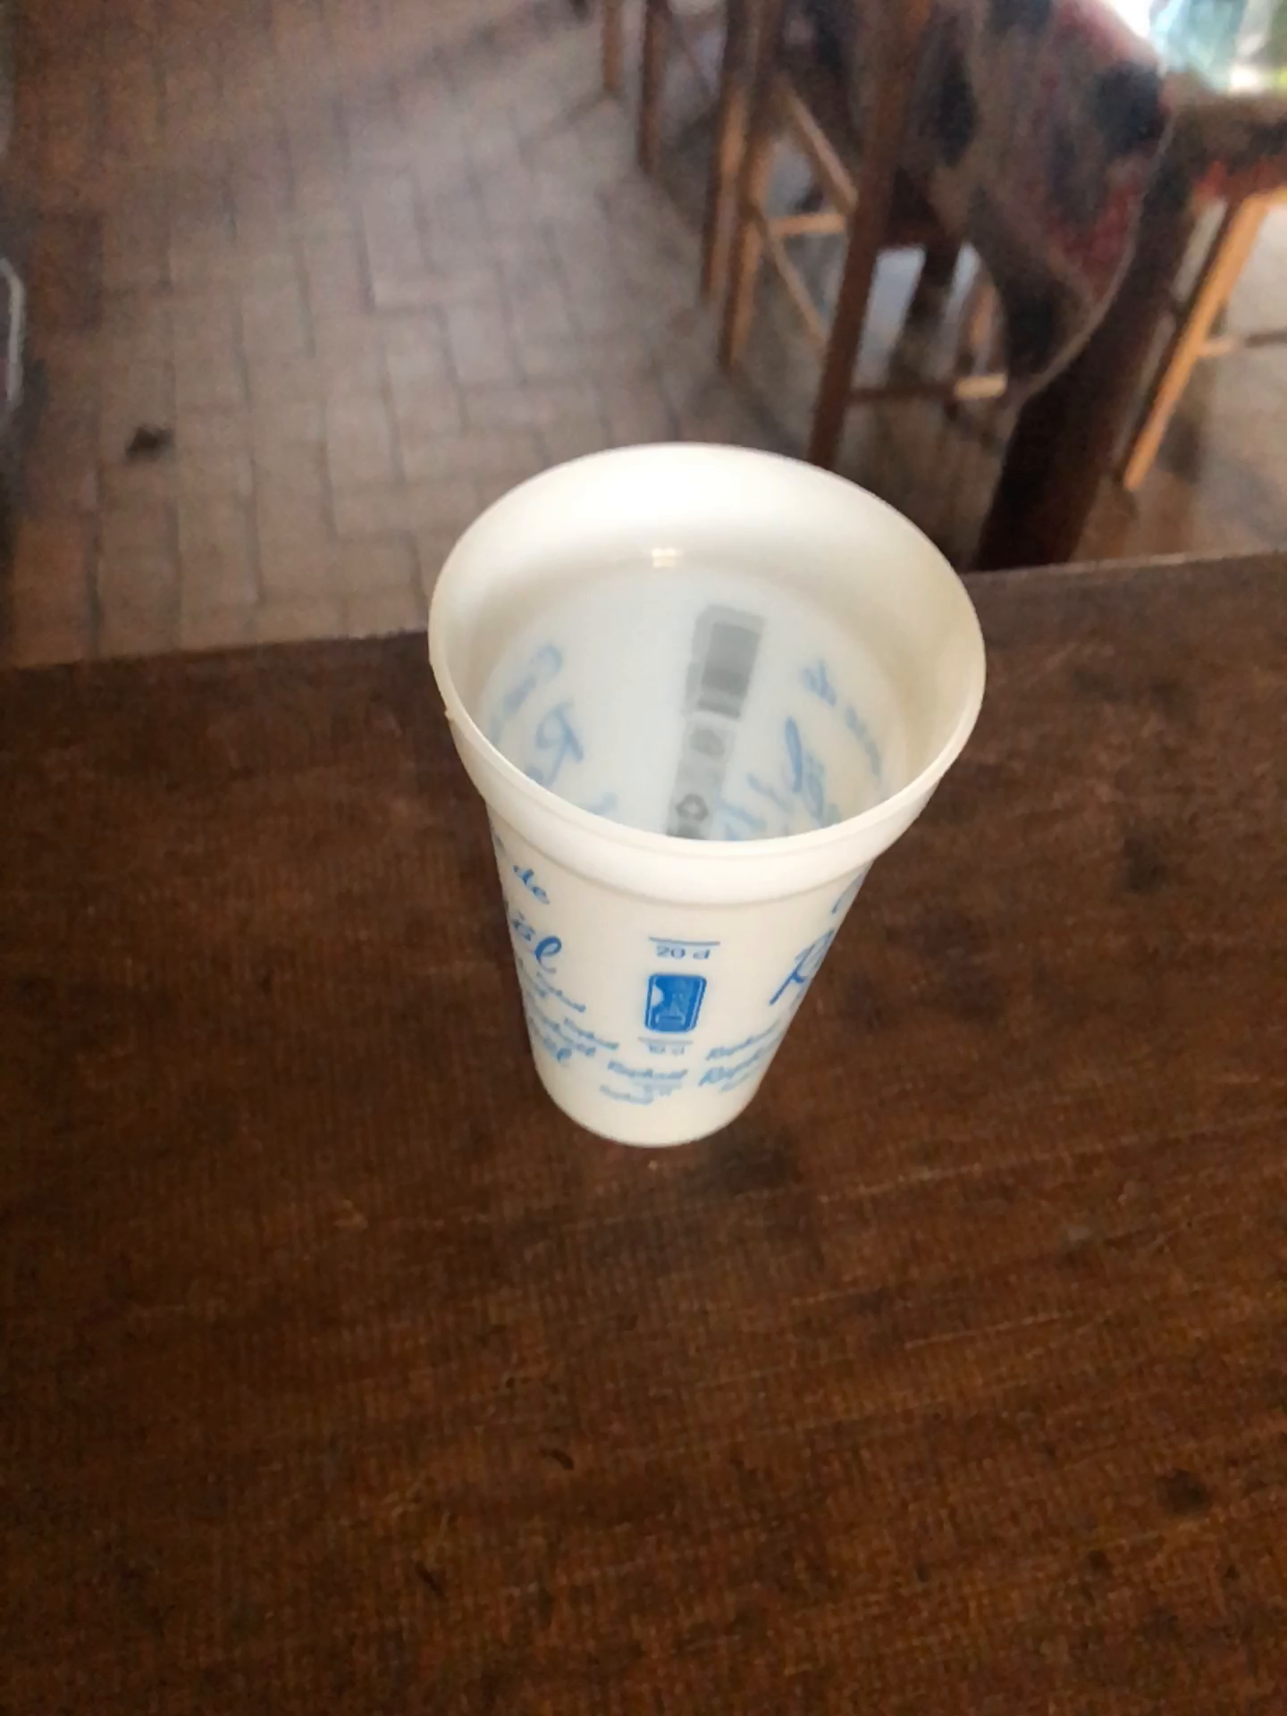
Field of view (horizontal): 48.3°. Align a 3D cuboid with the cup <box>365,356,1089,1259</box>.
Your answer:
[{"bbox_3d":[0.012,-0.003,0.249,0.080,0.119,0.080,2,54,-3],"label":"cup"}]
